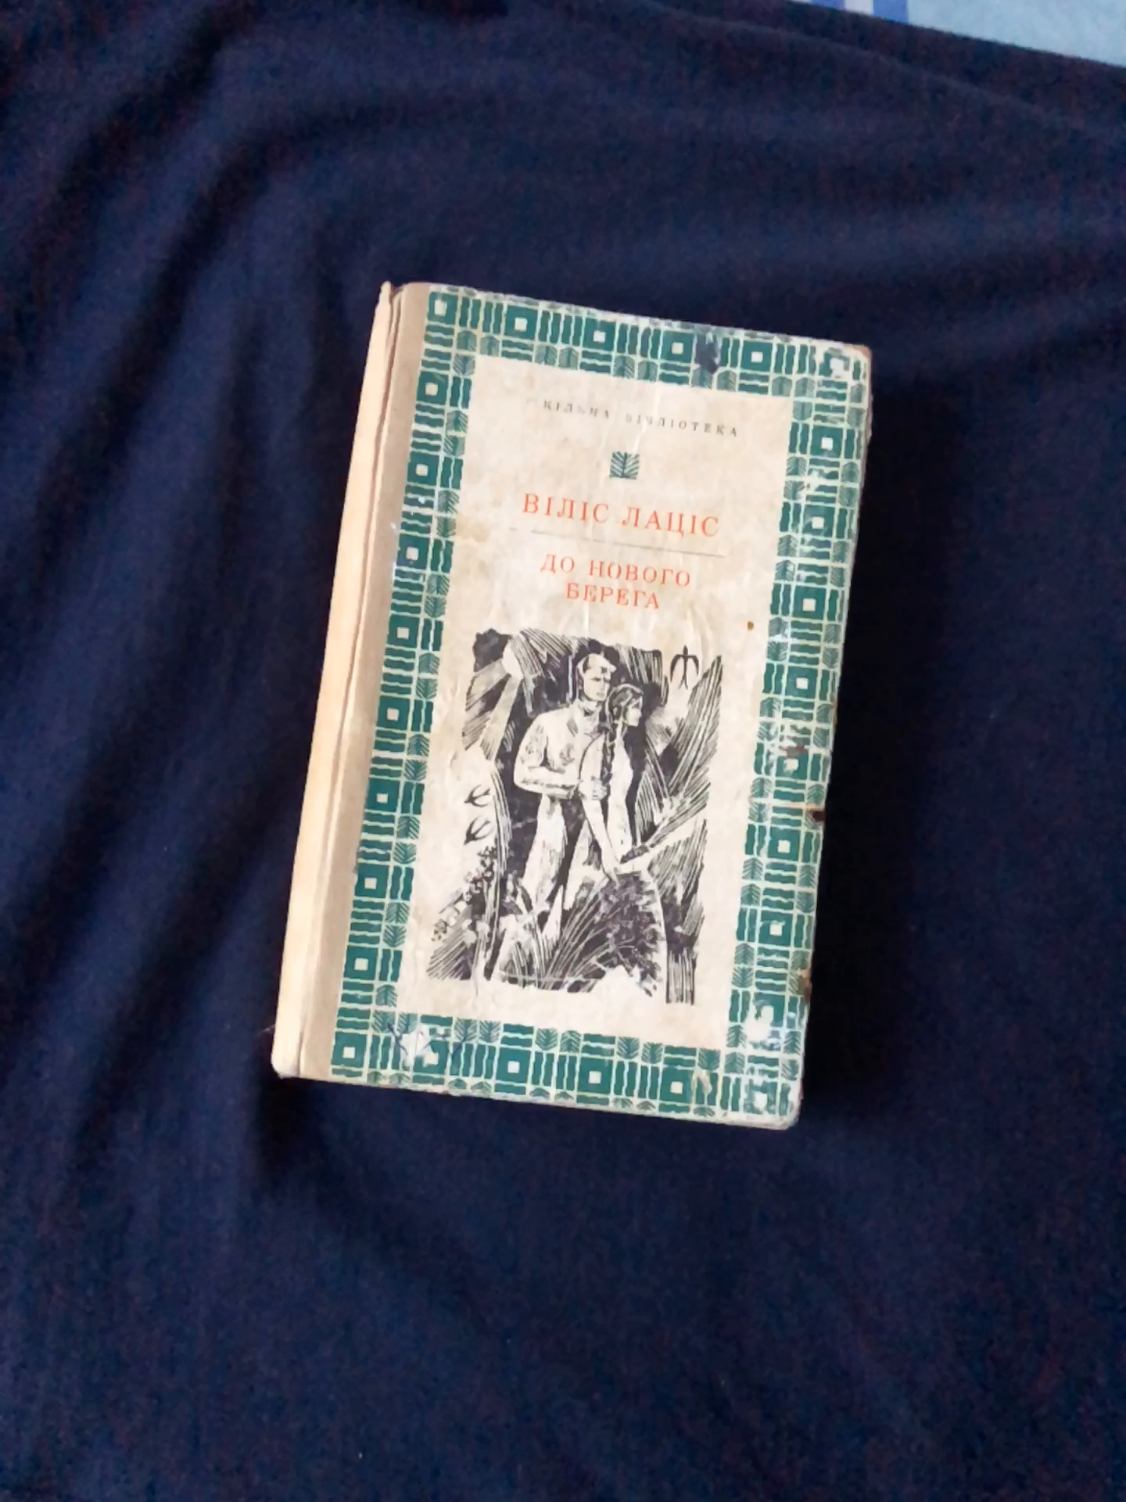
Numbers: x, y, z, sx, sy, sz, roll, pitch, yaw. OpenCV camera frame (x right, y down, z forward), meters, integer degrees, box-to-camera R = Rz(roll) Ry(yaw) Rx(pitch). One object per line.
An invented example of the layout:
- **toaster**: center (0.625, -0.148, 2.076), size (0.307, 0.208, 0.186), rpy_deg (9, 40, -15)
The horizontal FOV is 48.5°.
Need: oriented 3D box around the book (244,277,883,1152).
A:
- **book**: center (0.003, -0.010, 0.324), size (0.134, 0.040, 0.201), rpy_deg (7, 83, -2)
